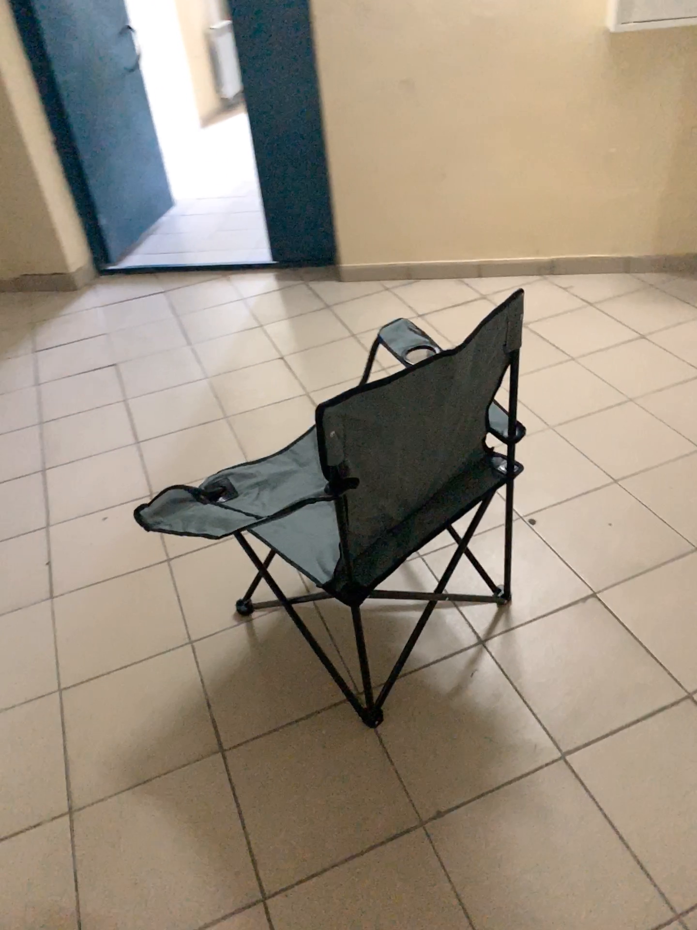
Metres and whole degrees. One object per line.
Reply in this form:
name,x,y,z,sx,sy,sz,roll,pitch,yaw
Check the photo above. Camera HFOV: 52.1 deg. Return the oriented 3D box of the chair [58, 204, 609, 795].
chair,0.026,0.006,1.463,0.562,0.756,0.801,27,48,37
